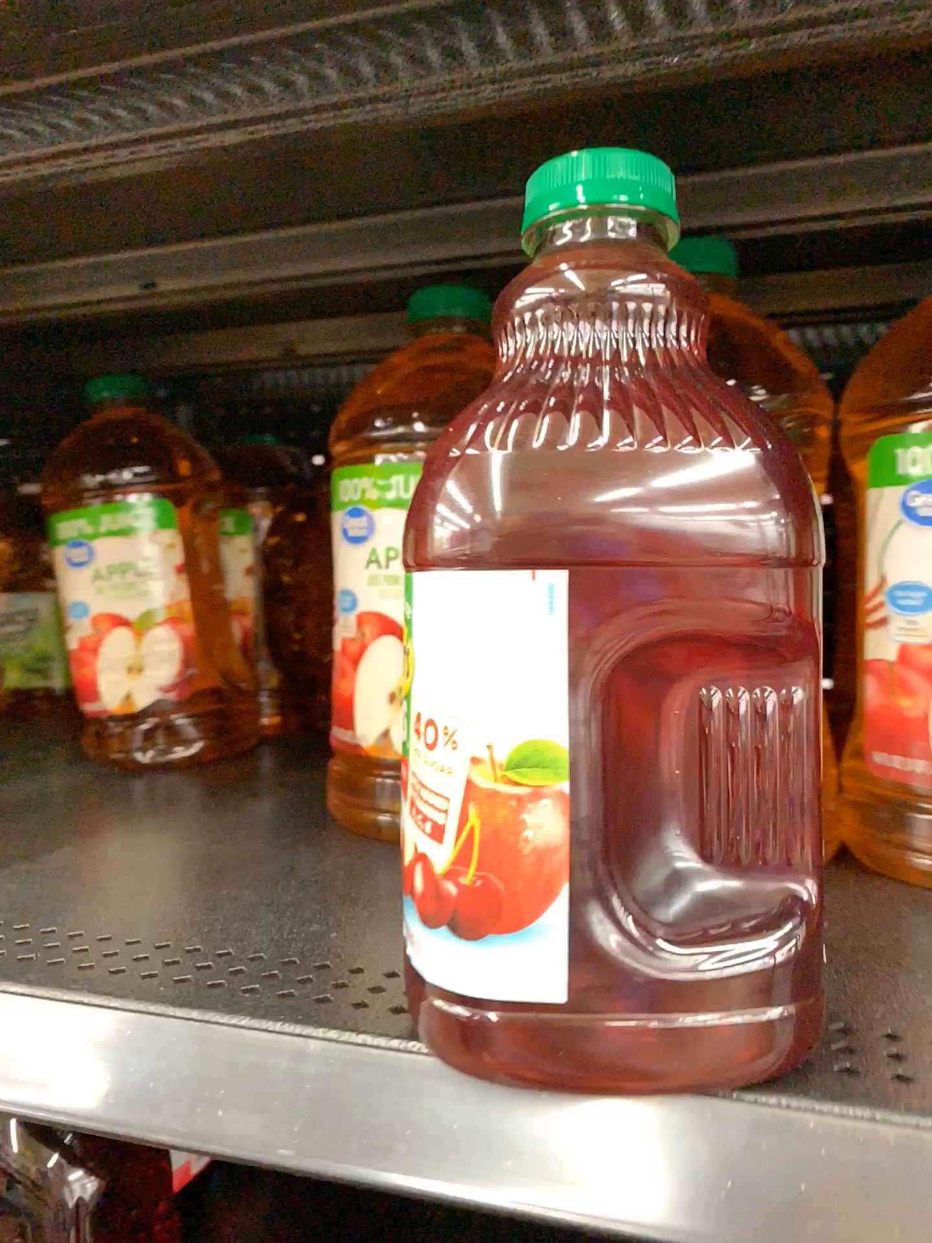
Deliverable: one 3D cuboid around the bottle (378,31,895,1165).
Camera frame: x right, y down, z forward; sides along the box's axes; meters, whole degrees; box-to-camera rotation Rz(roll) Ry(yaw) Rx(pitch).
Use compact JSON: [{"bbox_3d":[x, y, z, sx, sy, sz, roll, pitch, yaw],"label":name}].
[{"bbox_3d":[0.038,-0.007,0.283,0.110,0.250,0.120,-1,3,0],"label":"bottle"}]
